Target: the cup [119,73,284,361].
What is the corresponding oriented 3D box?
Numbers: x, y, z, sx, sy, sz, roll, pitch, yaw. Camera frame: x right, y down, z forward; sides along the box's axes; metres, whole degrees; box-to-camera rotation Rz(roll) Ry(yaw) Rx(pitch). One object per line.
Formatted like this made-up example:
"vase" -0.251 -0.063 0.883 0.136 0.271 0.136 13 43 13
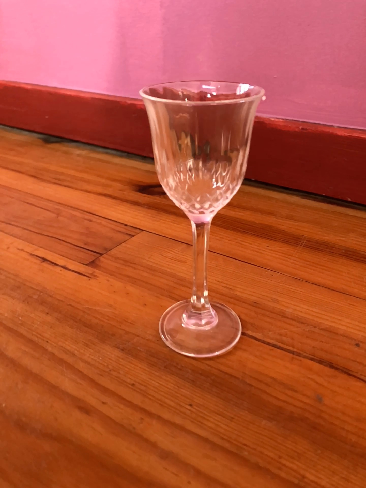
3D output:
"cup" 0.008 -0.011 0.206 0.060 0.133 0.059 0 29 0
